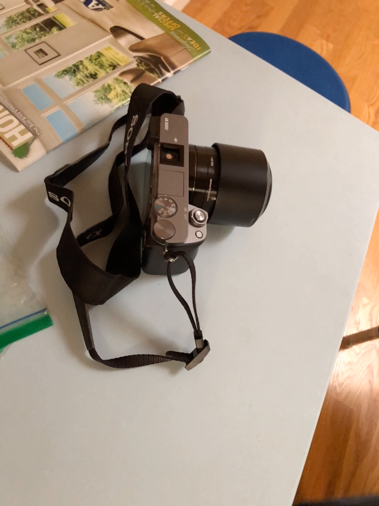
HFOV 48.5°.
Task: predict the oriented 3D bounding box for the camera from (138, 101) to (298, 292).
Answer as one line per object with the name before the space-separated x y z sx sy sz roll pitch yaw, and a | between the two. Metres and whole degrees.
camera | 0.020 -0.045 0.360 0.110 0.070 0.130 7 63 -12
